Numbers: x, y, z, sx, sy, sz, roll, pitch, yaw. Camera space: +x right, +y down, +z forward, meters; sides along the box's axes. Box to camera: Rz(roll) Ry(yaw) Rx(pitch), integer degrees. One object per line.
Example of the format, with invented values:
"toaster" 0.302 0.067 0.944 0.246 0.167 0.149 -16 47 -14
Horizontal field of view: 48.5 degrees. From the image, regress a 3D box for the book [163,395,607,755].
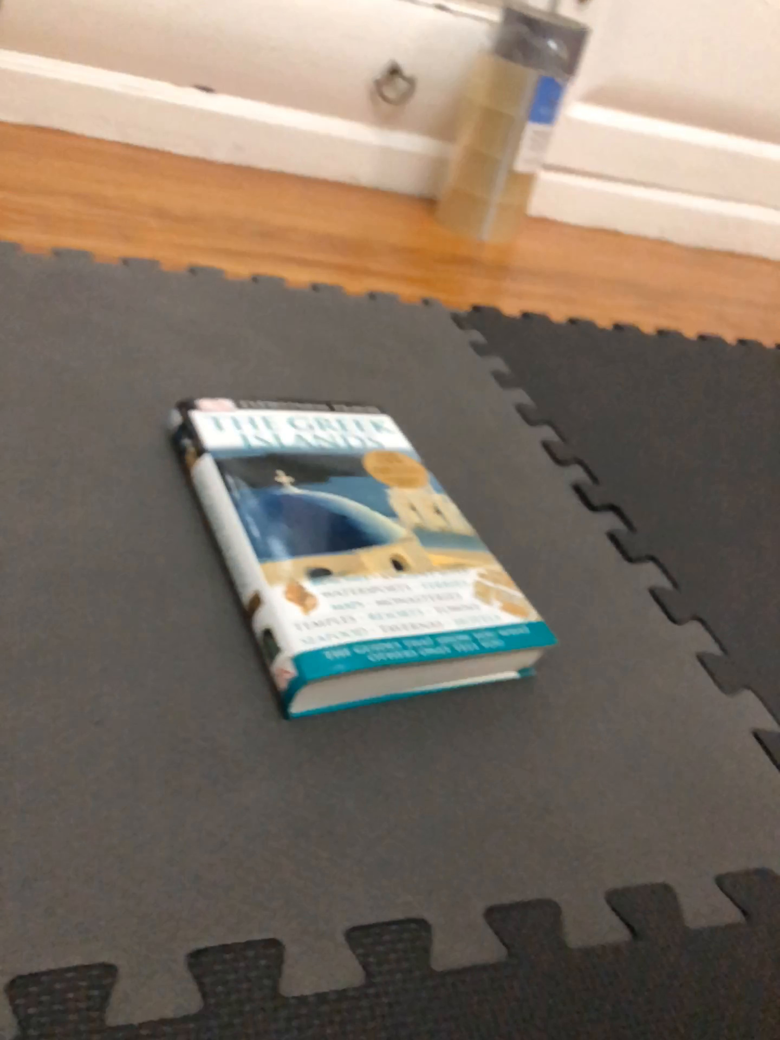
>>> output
"book" -0.017 0.007 0.469 0.160 0.030 0.241 -3 39 -26
